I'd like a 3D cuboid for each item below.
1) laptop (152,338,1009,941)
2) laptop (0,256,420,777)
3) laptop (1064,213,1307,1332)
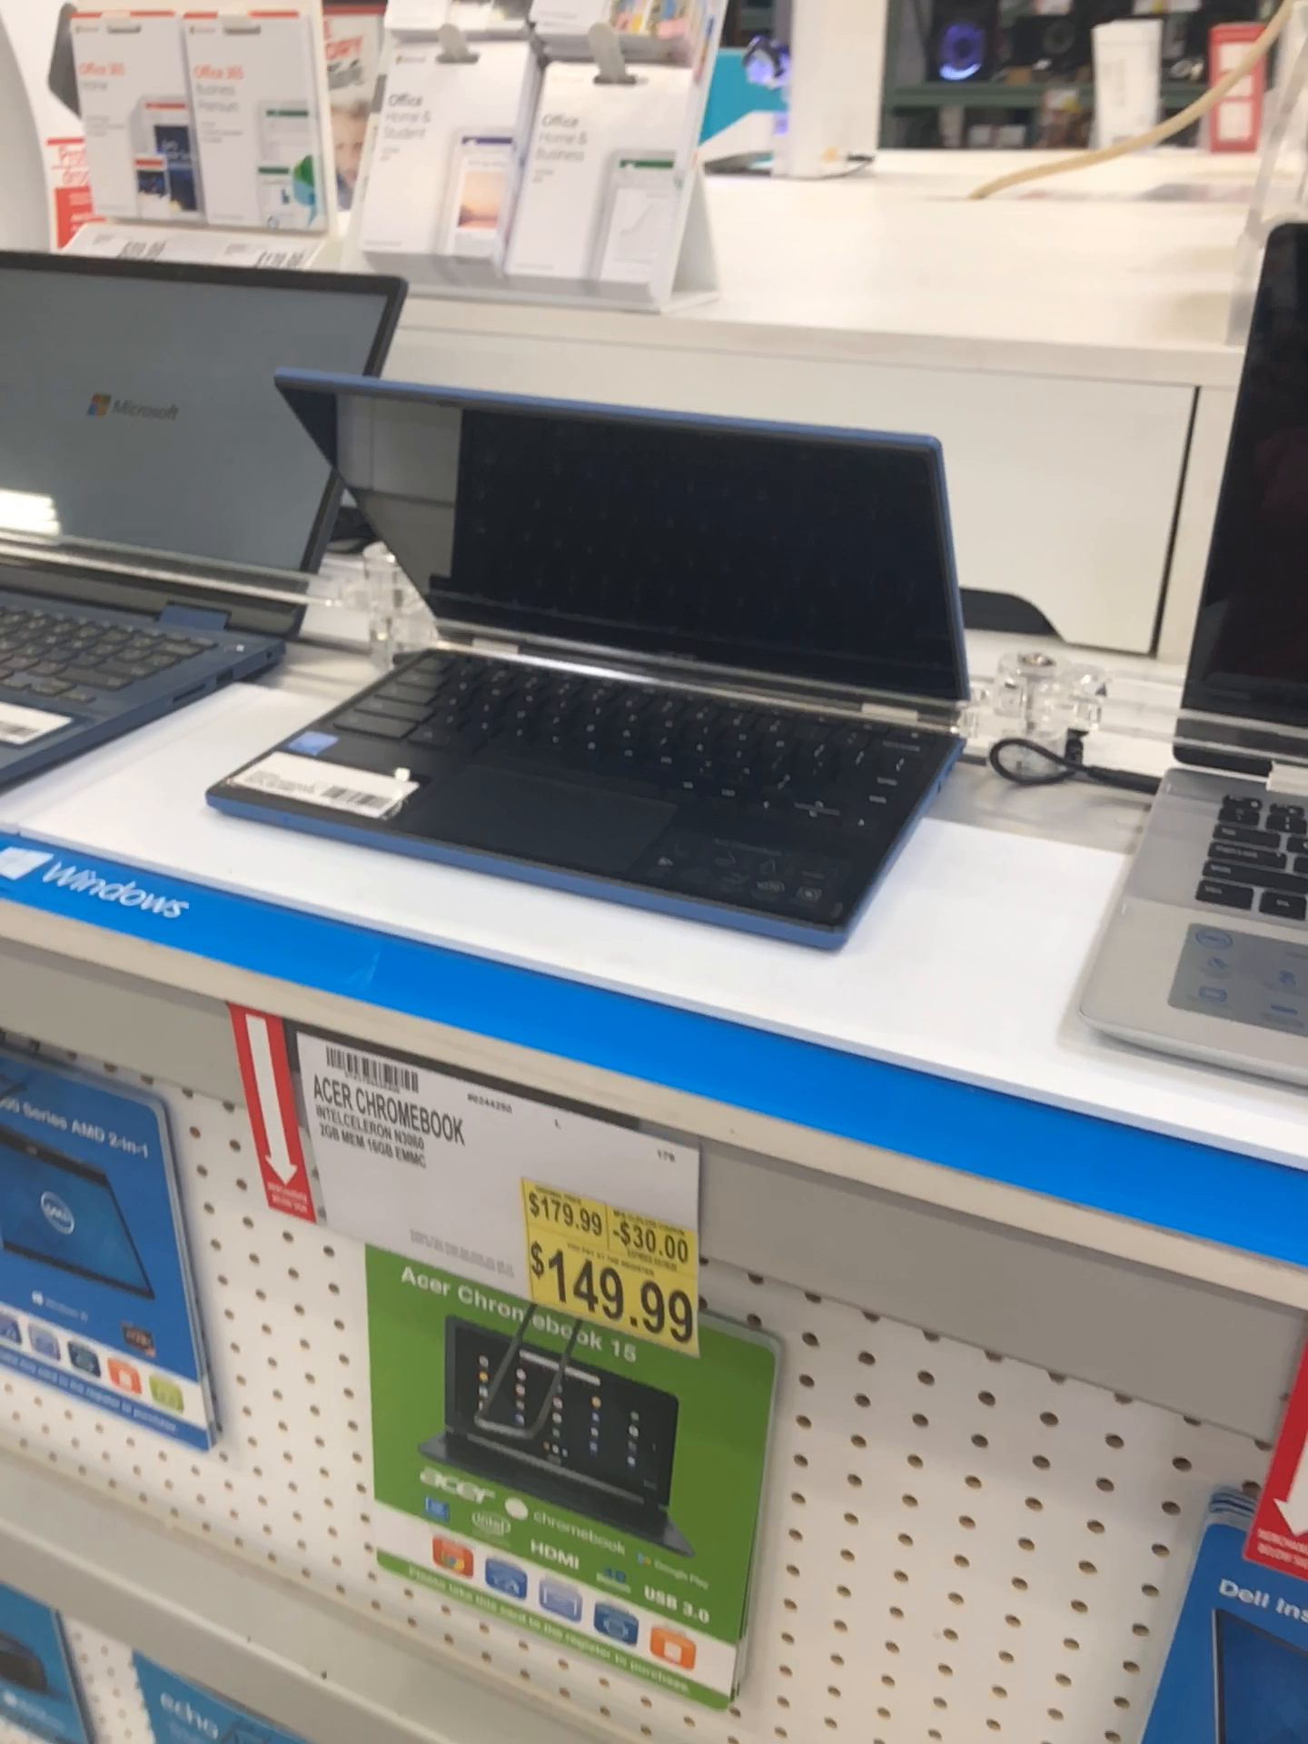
[{"bbox_3d":[-0.023,-0.120,0.620,0.293,0.159,0.195,13,31,22],"label":"laptop"},{"bbox_3d":[-0.364,-0.222,0.786,0.305,0.169,0.369,12,30,21],"label":"laptop"},{"bbox_3d":[0.354,-0.072,0.456,0.341,0.218,0.256,12,32,24],"label":"laptop"}]
